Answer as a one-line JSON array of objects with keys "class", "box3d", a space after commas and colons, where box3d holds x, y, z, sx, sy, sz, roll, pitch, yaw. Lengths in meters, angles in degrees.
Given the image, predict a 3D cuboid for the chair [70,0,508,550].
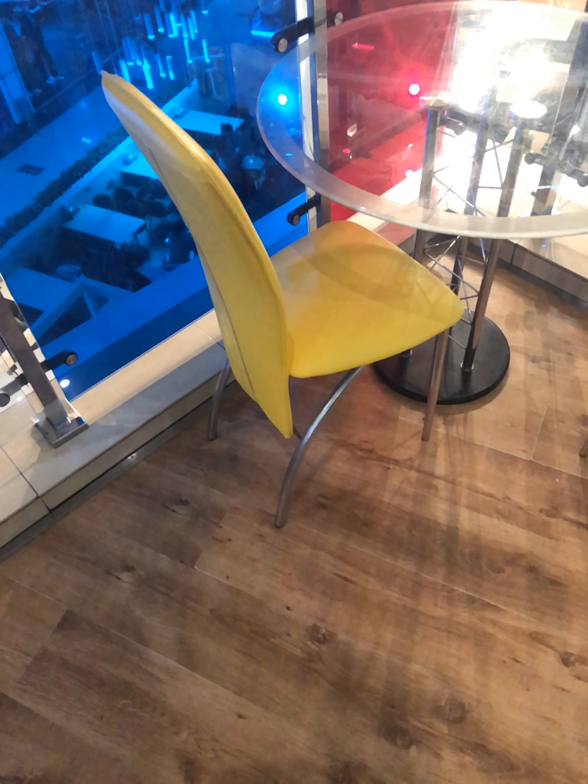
[{"class": "chair", "box3d": [0.008, -0.180, 1.293, 0.491, 0.897, 0.431, -30, 54, -19]}]
